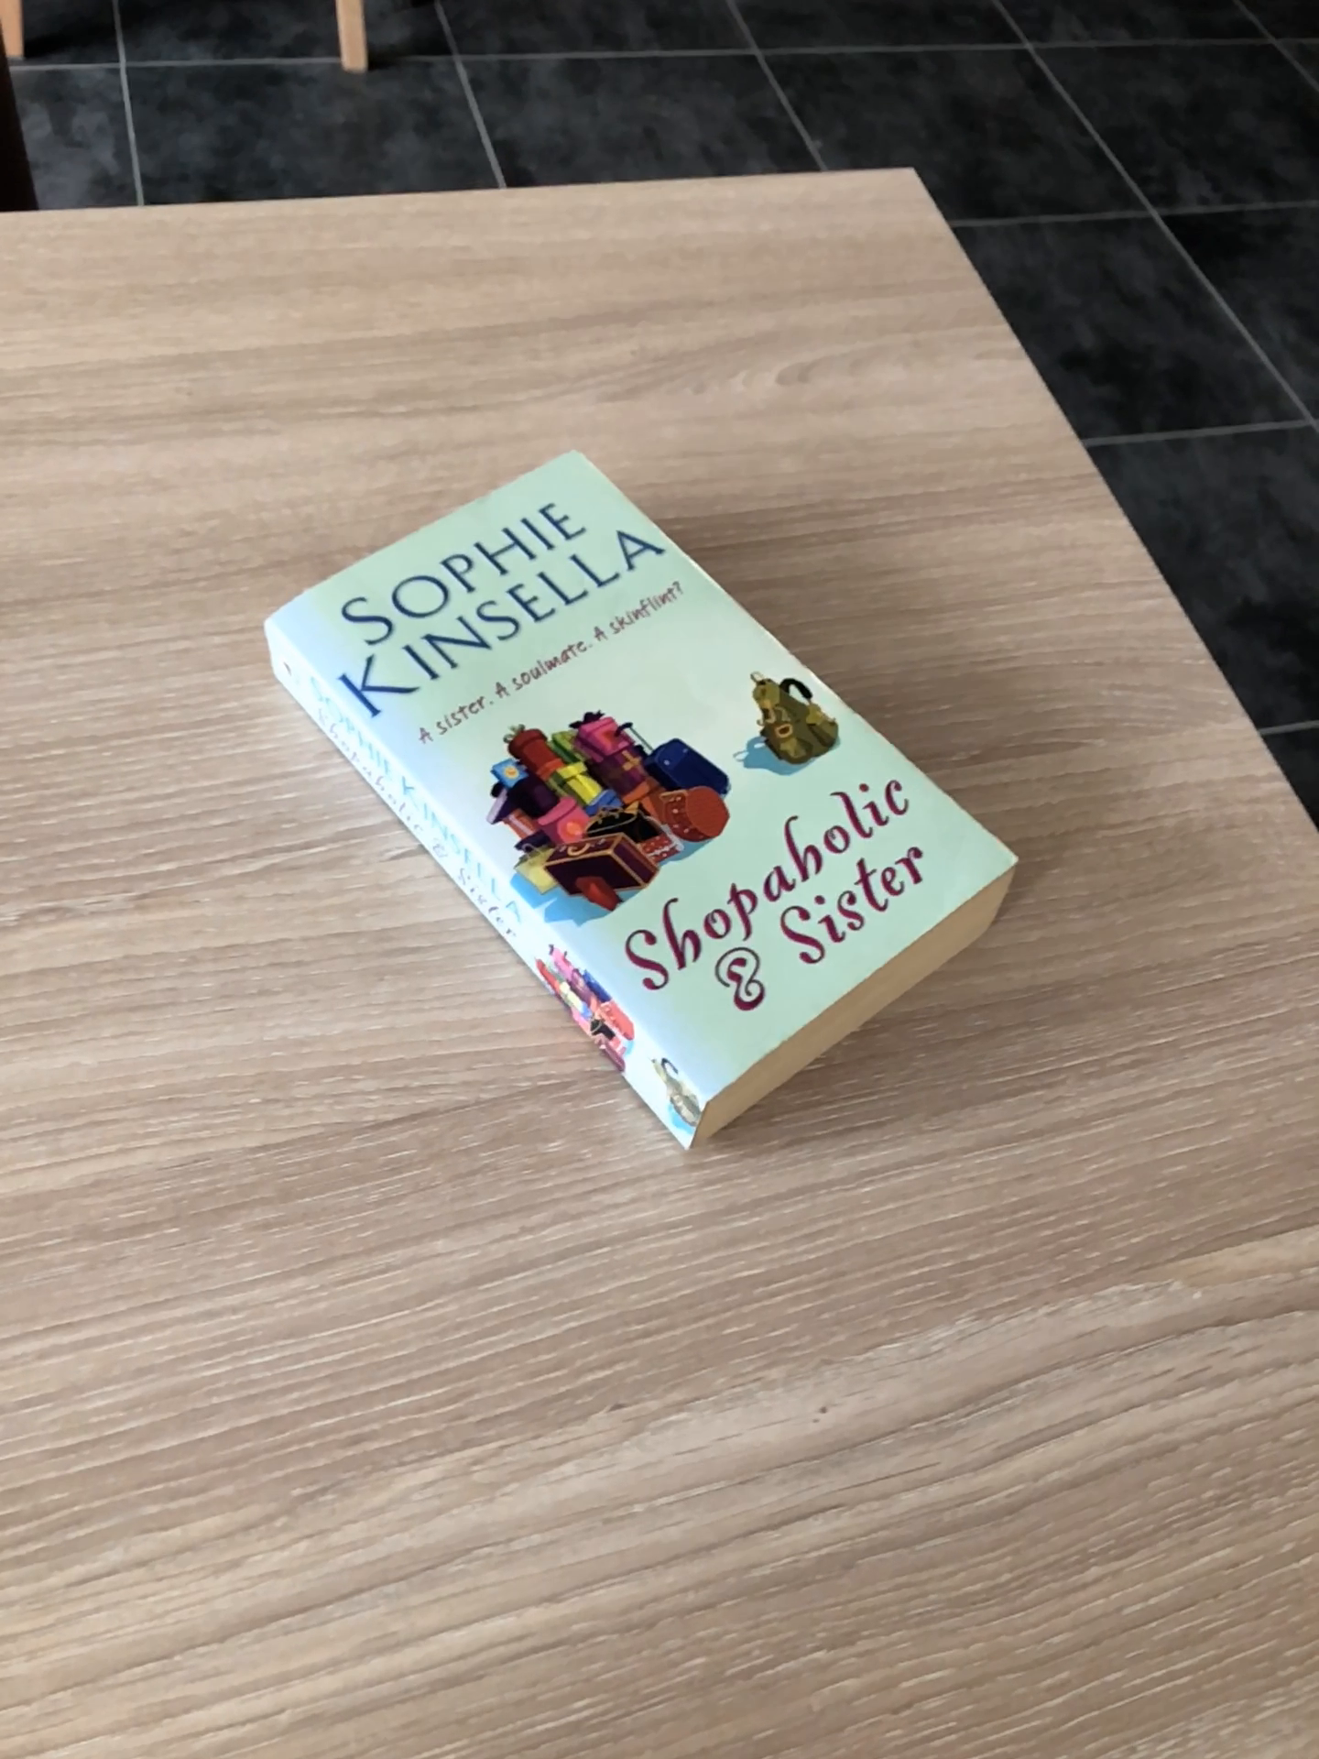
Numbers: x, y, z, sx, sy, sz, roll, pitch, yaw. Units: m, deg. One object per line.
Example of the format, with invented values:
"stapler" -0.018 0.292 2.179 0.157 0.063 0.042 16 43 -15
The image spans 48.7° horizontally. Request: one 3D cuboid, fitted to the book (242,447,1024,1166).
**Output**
"book" -0.011 -0.030 0.379 0.107 0.032 0.180 -33 66 -25
